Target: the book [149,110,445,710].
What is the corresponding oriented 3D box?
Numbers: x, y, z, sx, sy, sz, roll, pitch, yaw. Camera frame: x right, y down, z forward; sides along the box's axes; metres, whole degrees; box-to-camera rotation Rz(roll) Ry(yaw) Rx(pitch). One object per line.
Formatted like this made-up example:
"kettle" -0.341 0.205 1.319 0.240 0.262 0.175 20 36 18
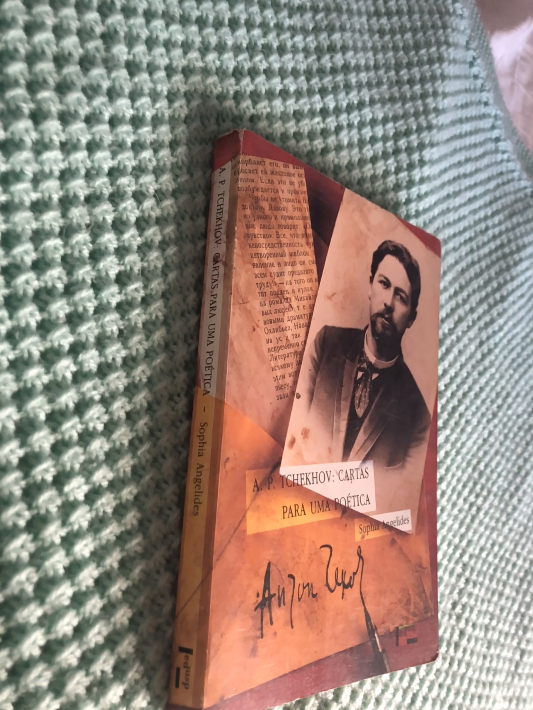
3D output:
"book" 0.029 0.030 0.257 0.151 0.030 0.210 16 73 -47
